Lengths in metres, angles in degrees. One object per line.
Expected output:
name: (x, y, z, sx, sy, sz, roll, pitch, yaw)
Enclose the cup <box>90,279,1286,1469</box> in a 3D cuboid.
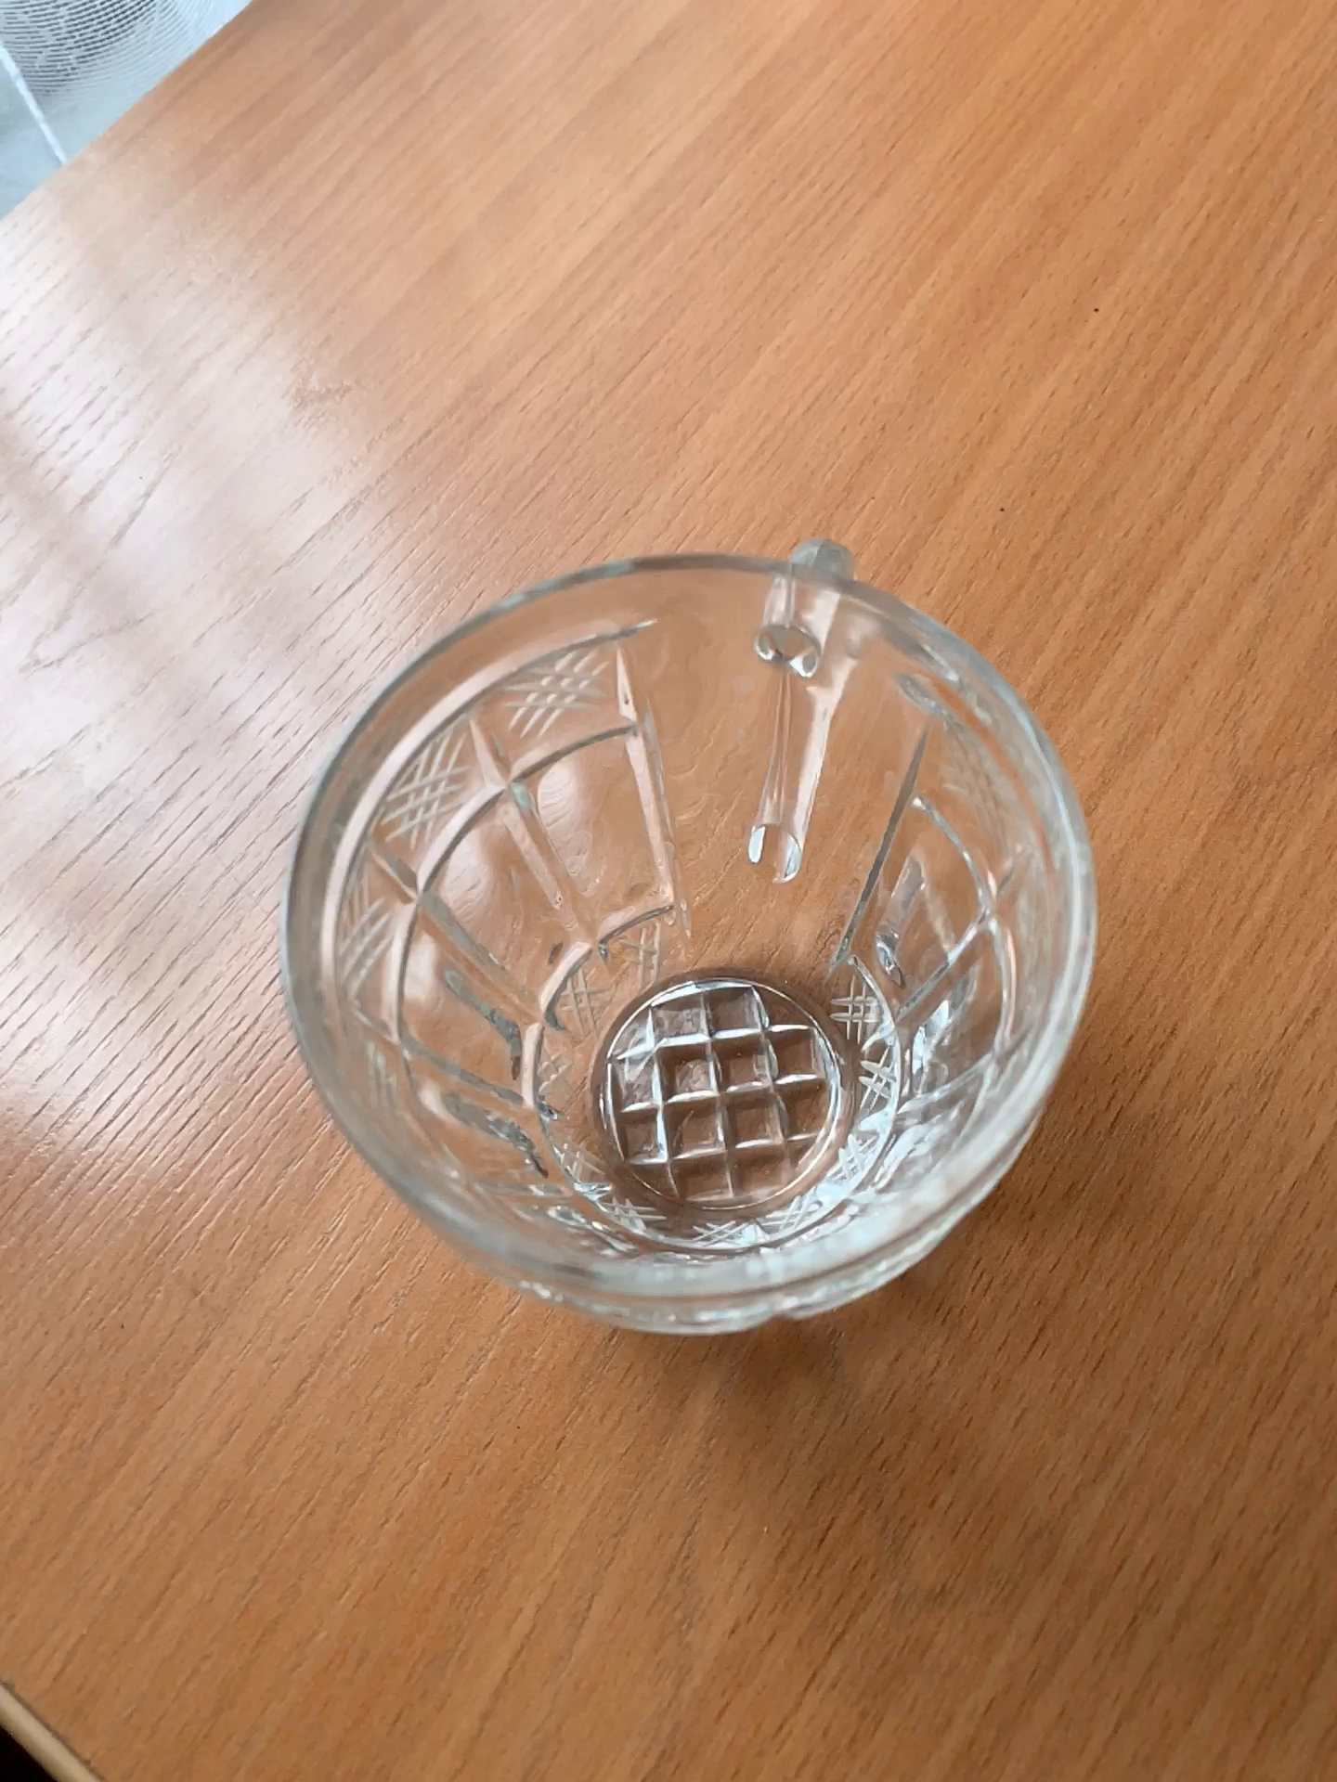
cup: (0.008, 0.000, 0.163, 0.082, 0.066, 0.101, 20, 69, 12)
